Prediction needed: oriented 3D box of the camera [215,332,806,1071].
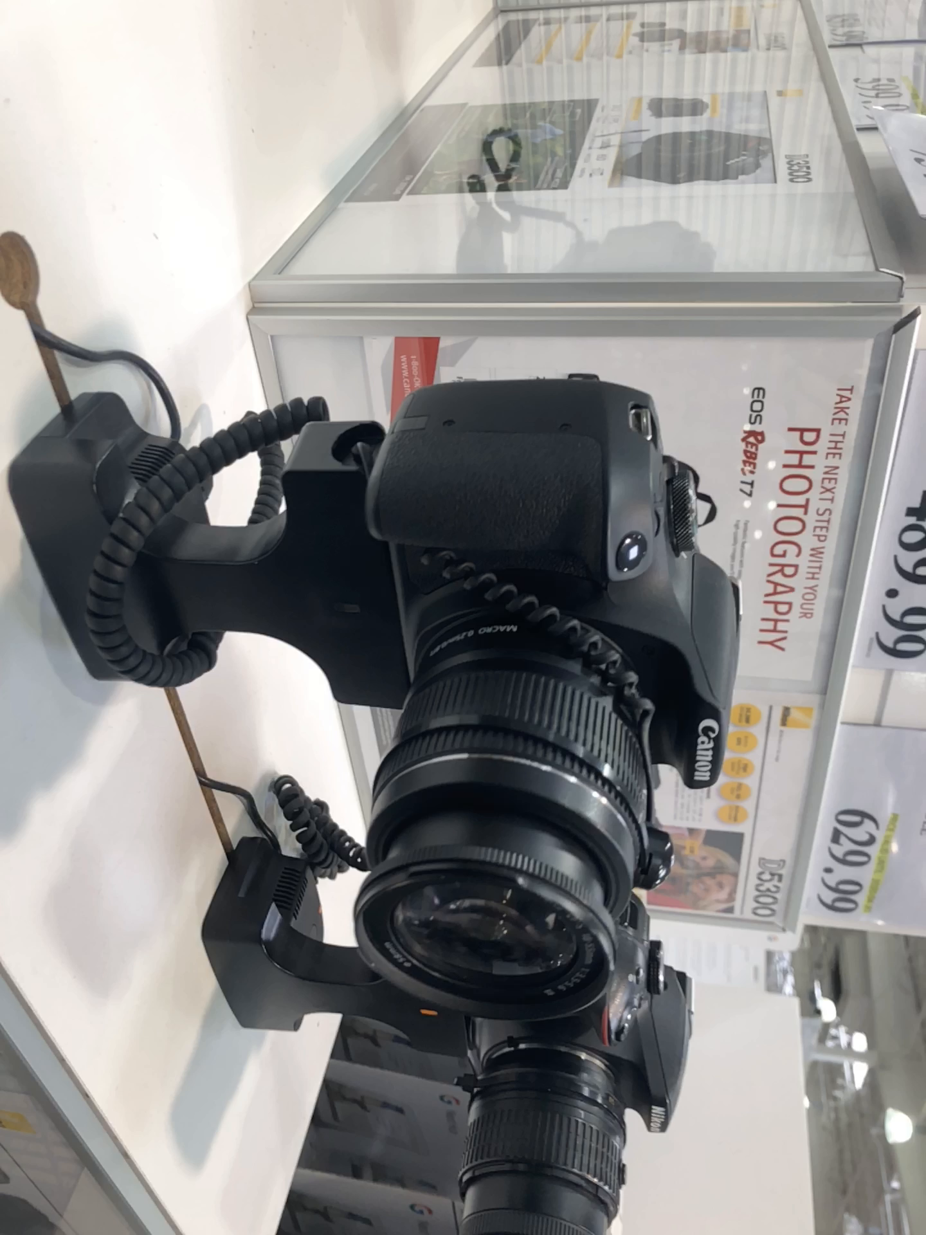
[{"bbox_3d":[0.025,0.017,0.286,0.150,0.110,0.130,-76,165,-46],"label":"camera"}]
